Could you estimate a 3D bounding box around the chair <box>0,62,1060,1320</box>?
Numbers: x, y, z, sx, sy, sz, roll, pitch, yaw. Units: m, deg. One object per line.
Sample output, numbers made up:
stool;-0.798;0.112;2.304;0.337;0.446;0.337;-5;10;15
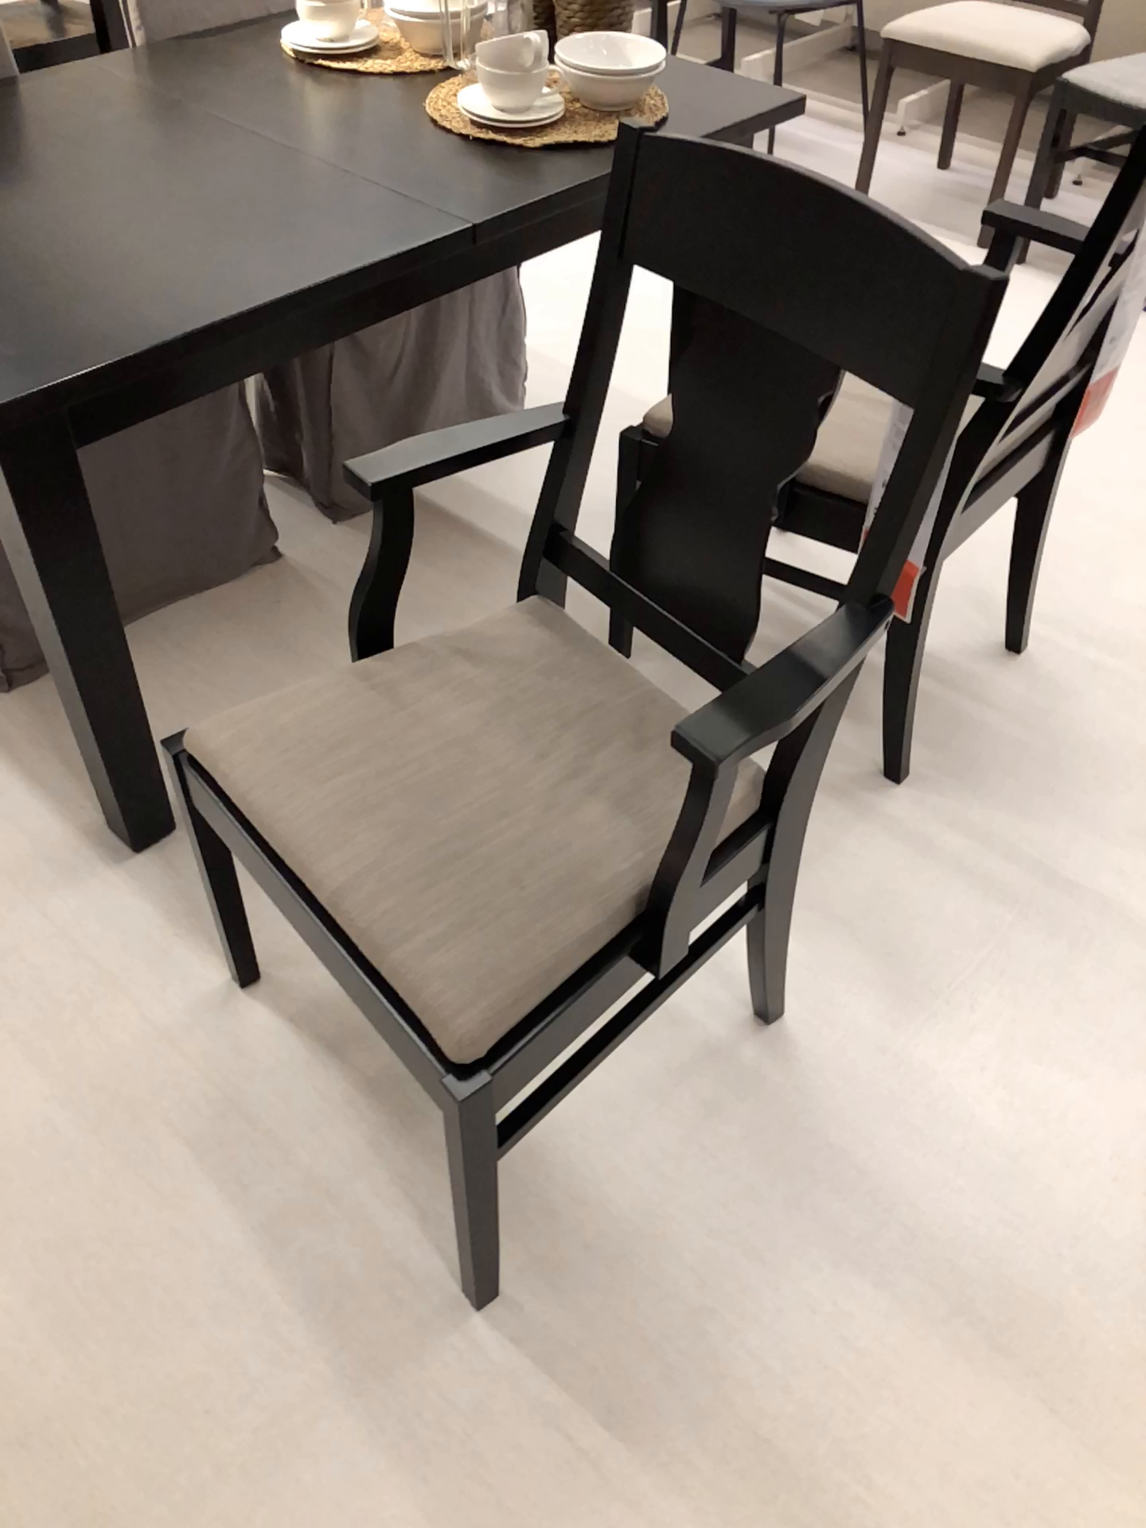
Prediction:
chair;-0.056;-0.044;1.279;0.572;0.993;0.572;-30;52;-27
